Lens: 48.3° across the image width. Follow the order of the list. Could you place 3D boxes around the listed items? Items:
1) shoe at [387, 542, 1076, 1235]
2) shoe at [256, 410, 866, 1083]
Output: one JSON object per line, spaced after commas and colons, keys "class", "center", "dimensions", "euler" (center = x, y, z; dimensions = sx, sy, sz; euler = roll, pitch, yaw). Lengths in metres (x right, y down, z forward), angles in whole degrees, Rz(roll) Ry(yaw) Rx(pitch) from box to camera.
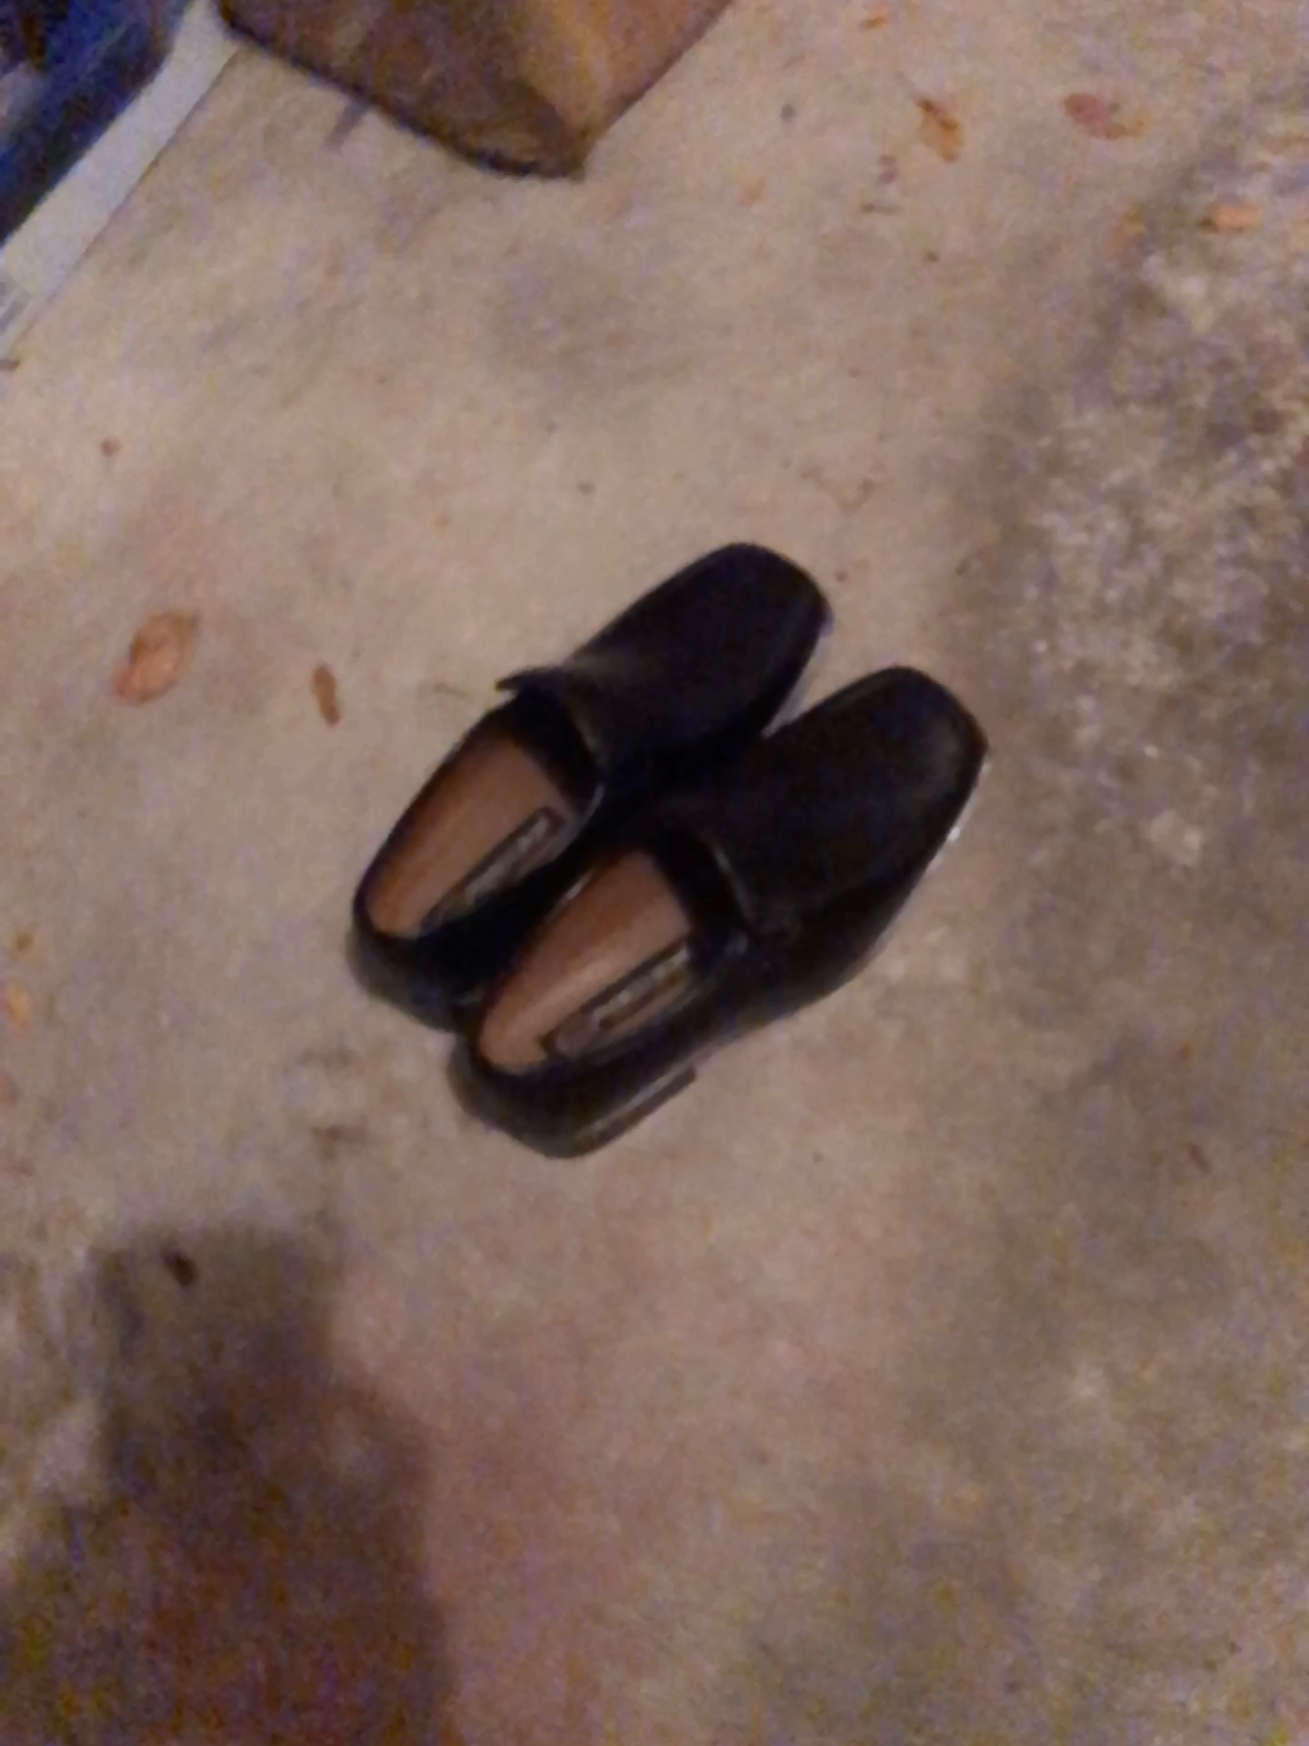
{"class": "shoe", "center": [0.039, 0.010, 0.620], "dimensions": [0.279, 0.113, 0.101], "euler": [-44, 69, -8]}
{"class": "shoe", "center": [-0.029, -0.054, 0.654], "dimensions": [0.104, 0.113, 0.269], "euler": [37, 79, 19]}
